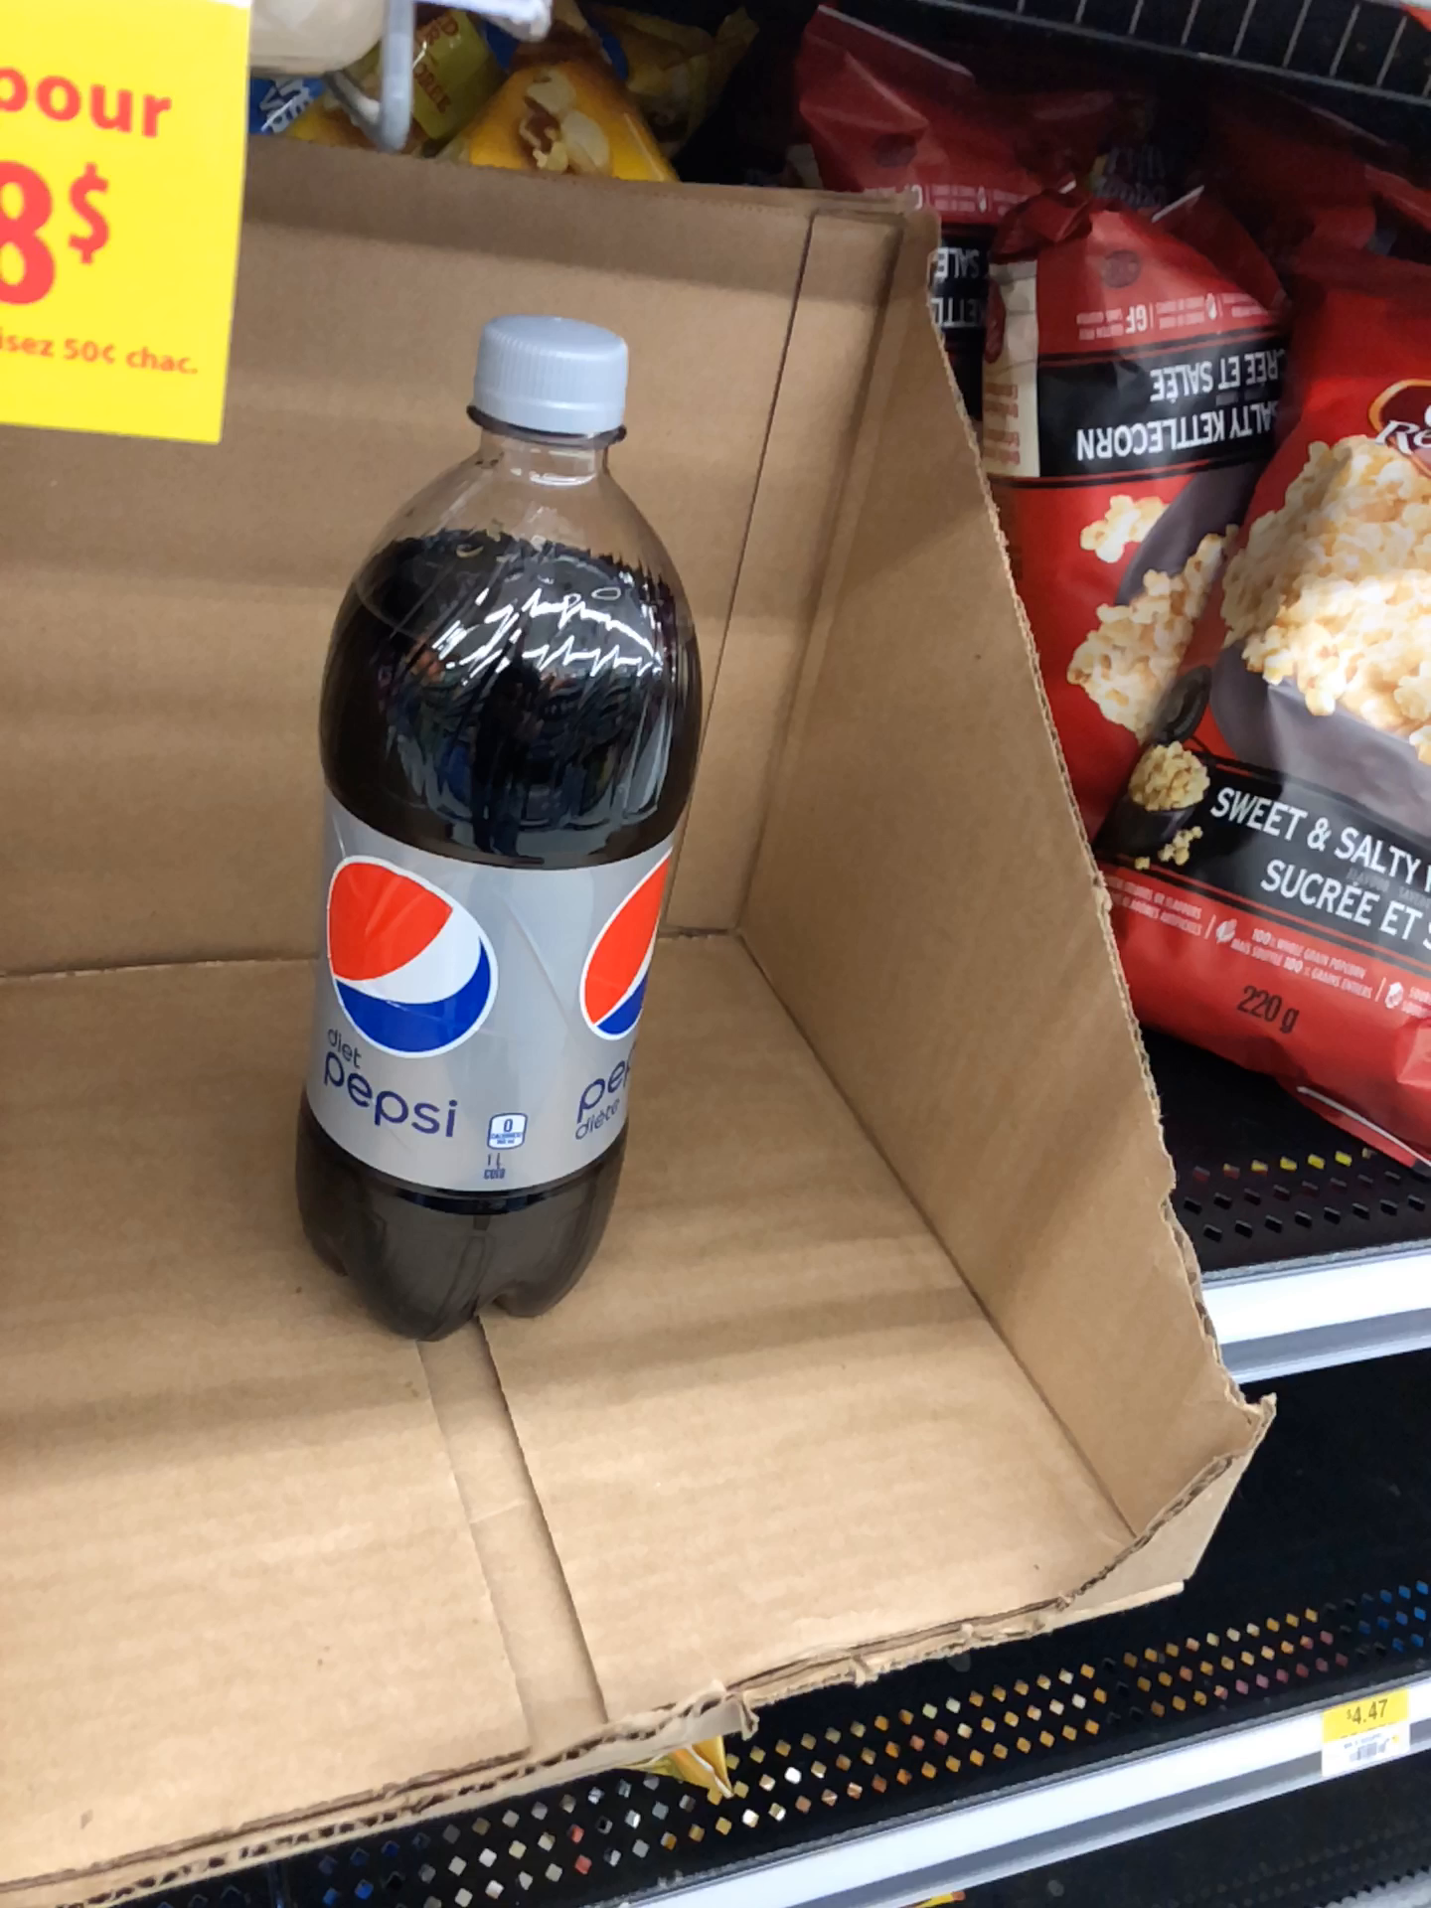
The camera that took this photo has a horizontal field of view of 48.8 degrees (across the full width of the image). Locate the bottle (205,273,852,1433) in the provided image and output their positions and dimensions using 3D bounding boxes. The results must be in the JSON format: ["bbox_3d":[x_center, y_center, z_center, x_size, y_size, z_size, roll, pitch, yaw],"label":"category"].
[{"bbox_3d":[-0.050,-0.017,0.352,0.080,0.228,0.091,26,36,19],"label":"bottle"}]
